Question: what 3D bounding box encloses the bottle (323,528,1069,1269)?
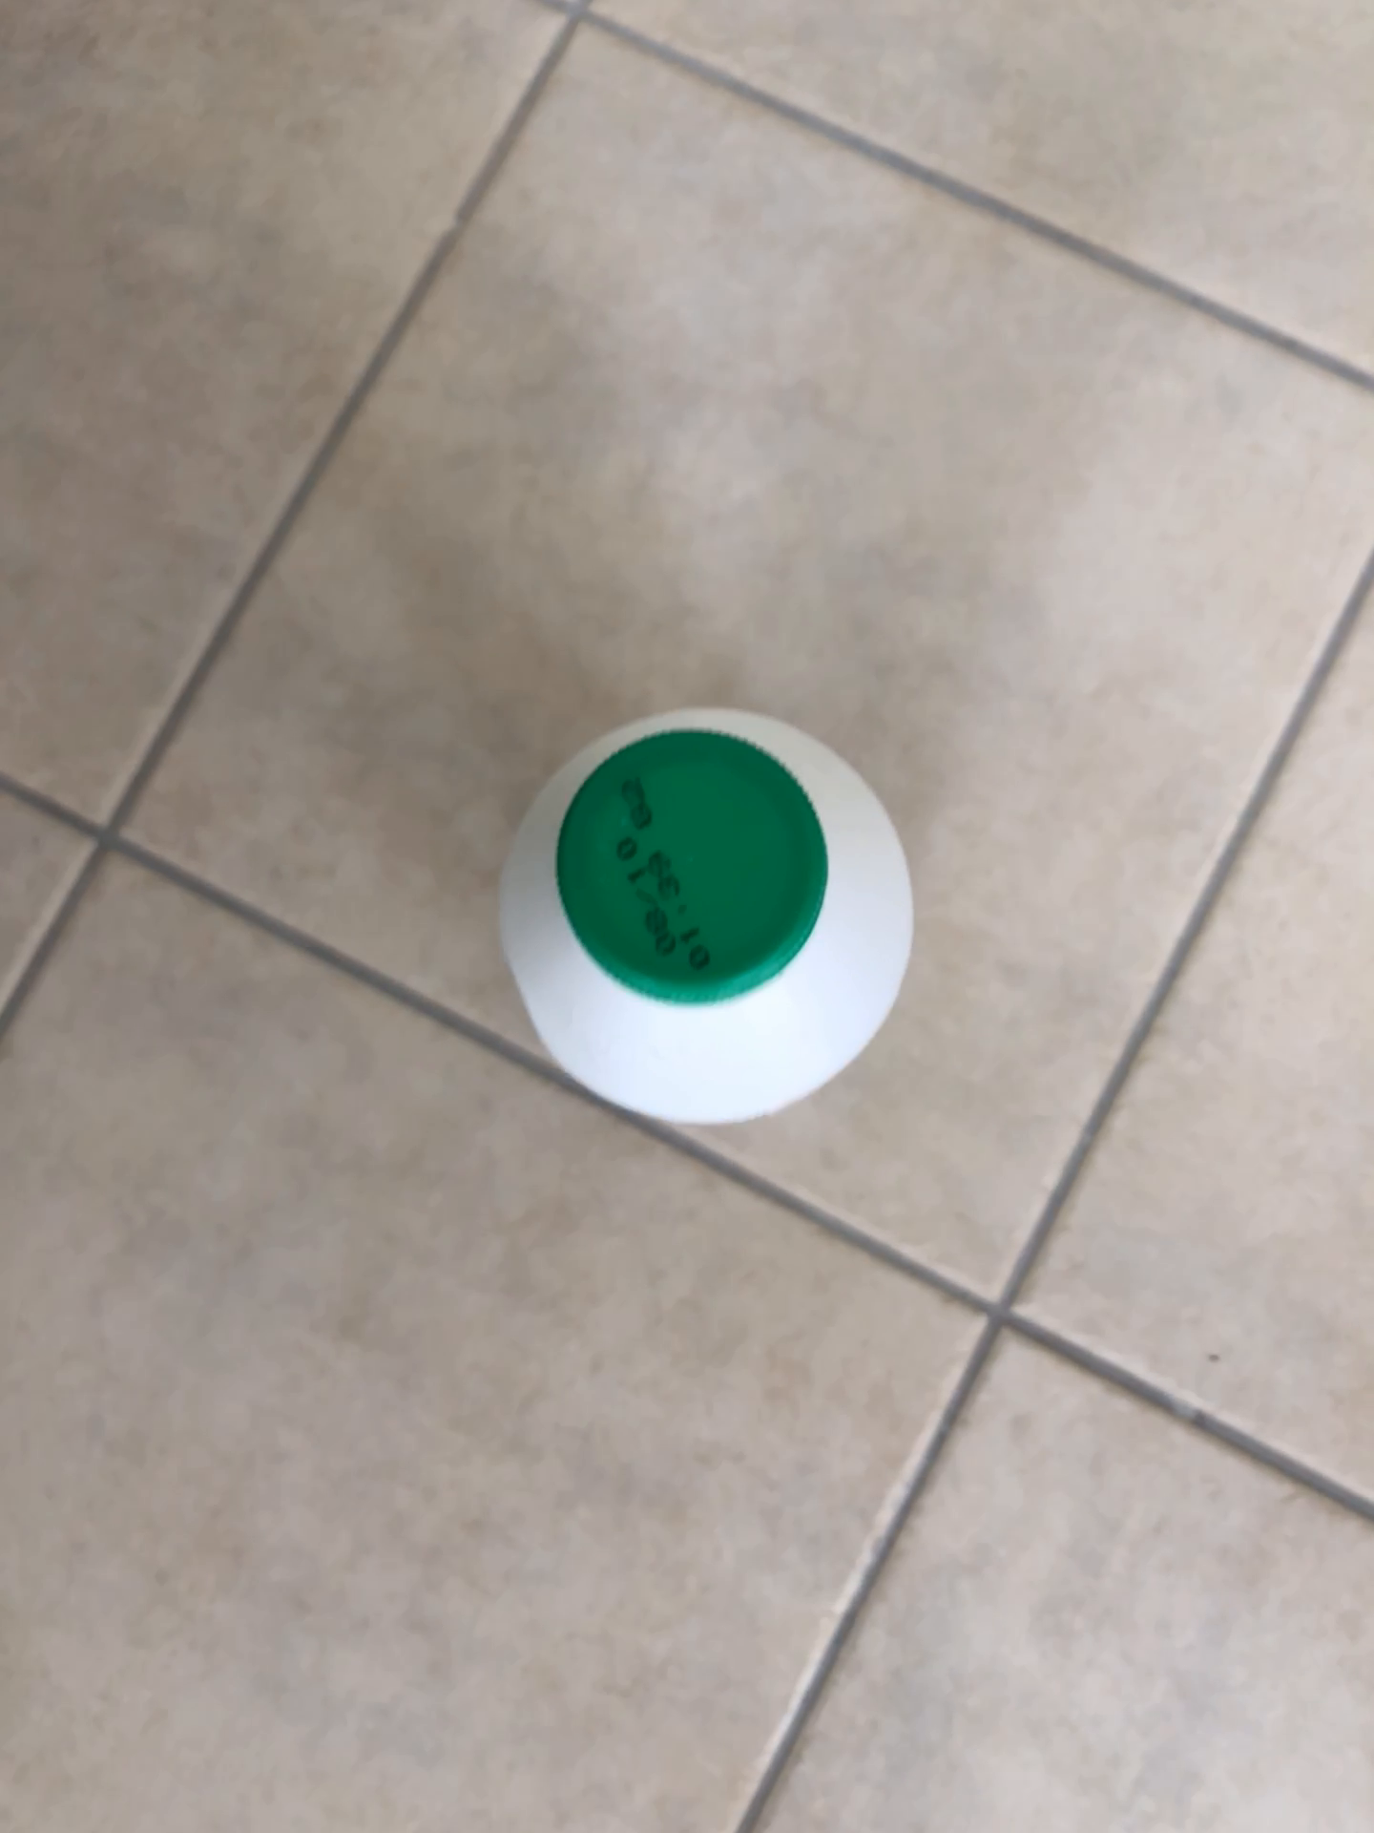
[{"bbox_3d":[0.006,0.008,0.347,0.080,0.230,0.080,0,84,2],"label":"bottle"}]
